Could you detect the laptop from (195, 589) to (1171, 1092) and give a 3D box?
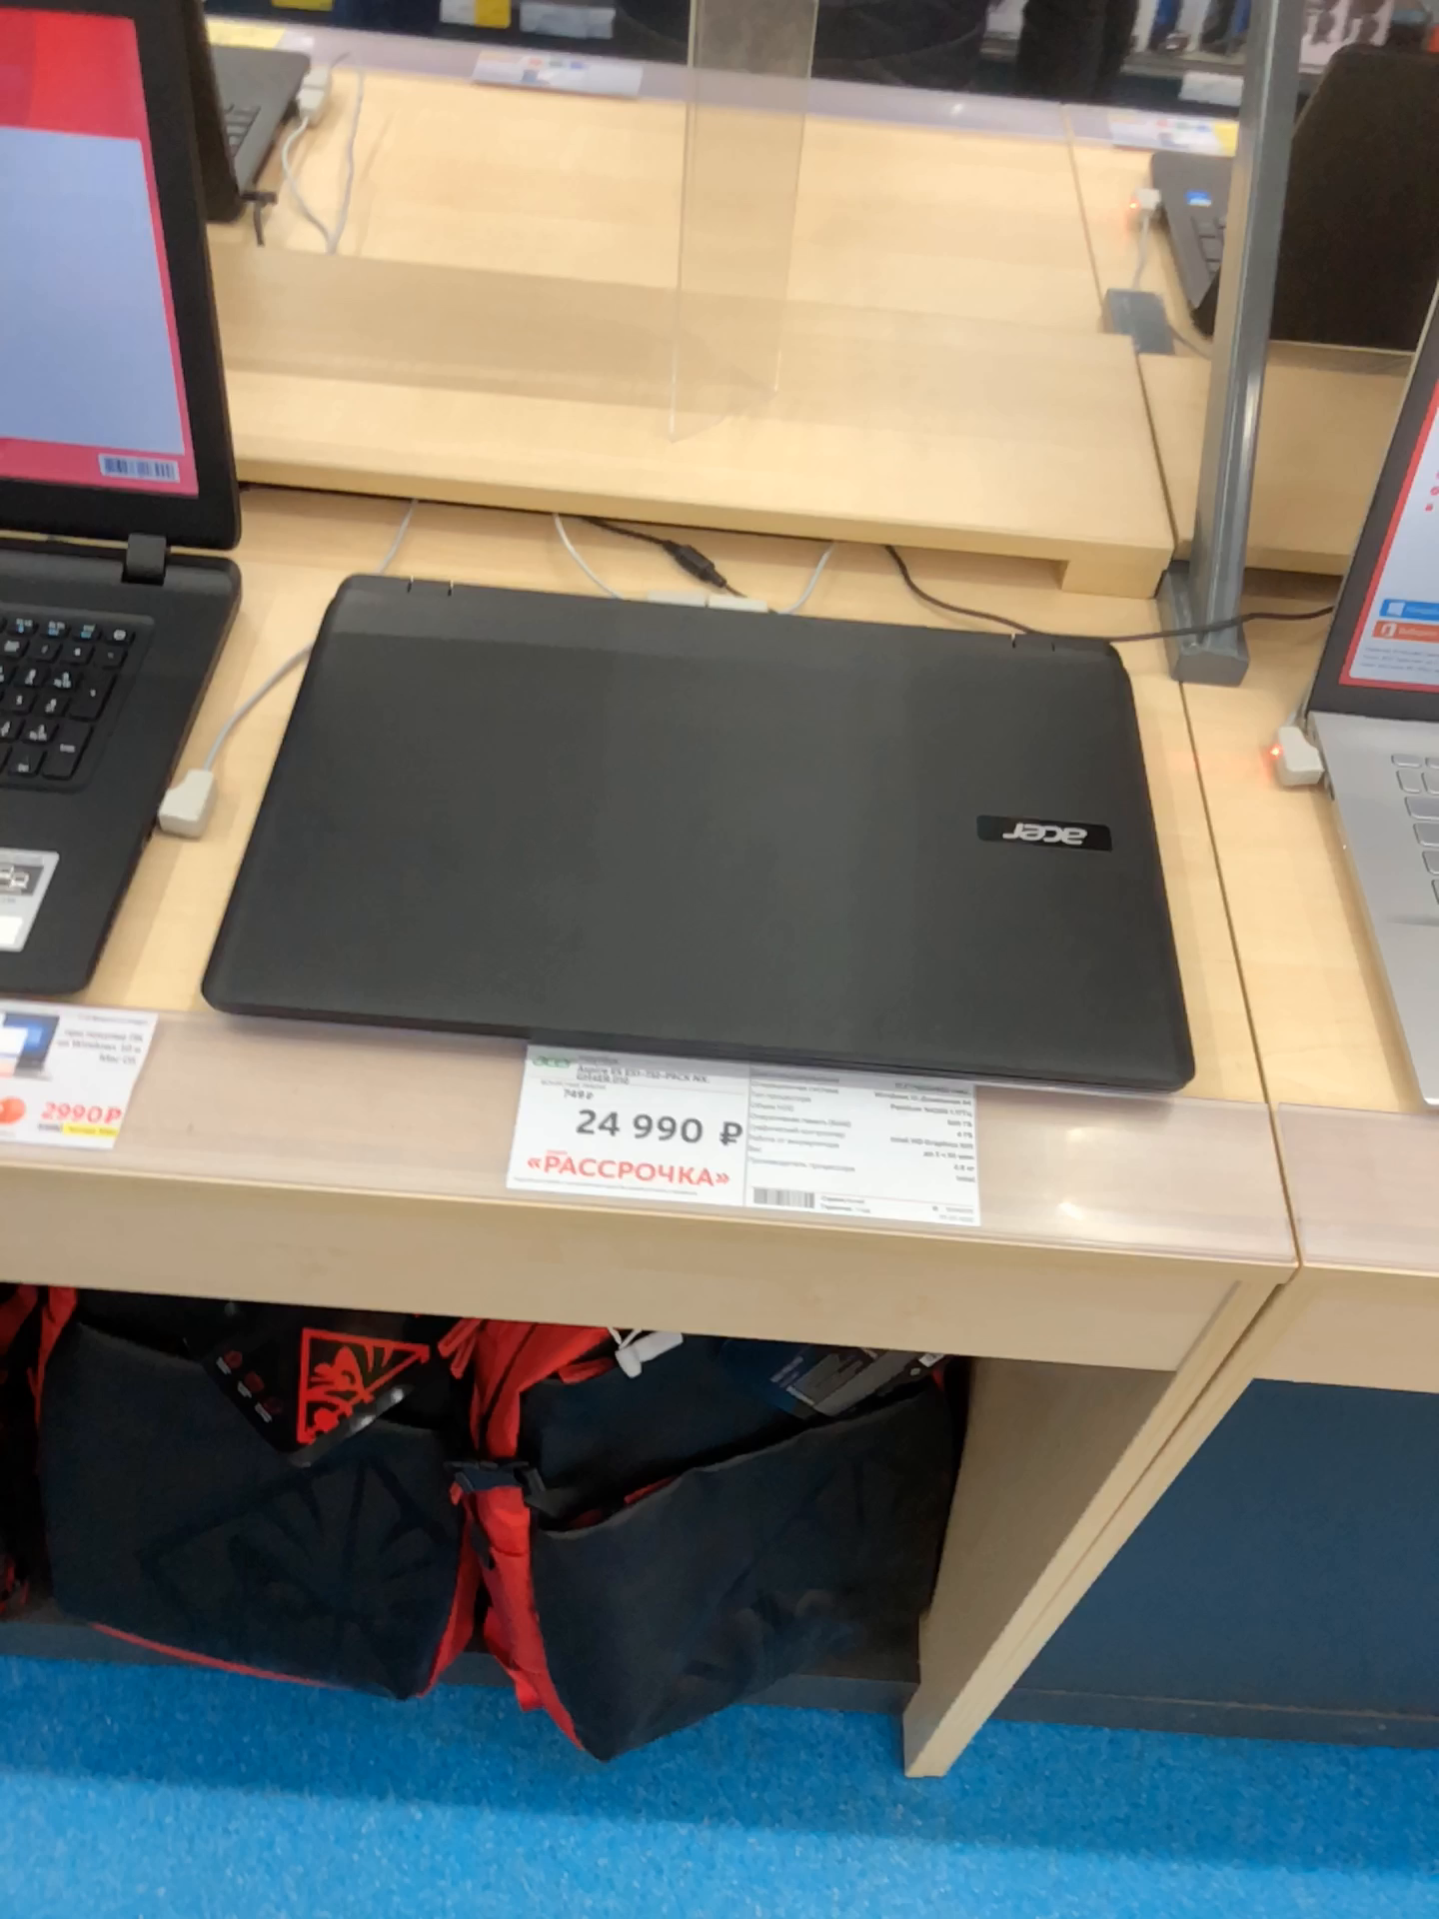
[{"bbox_3d":[-0.006,-0.069,0.750,0.410,0.005,0.279,5,51,-3],"label":"laptop"}]
